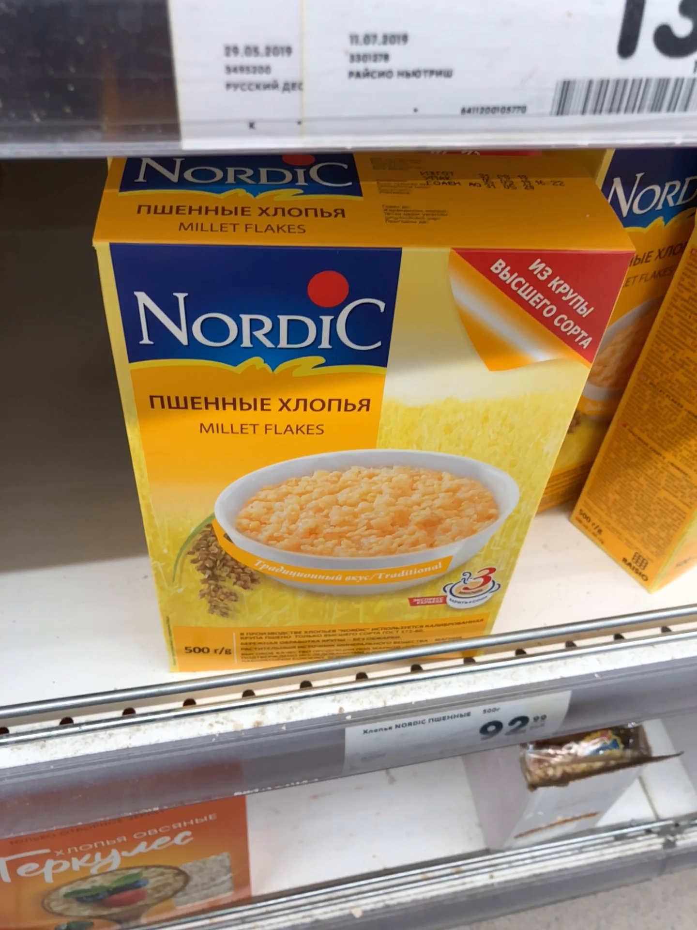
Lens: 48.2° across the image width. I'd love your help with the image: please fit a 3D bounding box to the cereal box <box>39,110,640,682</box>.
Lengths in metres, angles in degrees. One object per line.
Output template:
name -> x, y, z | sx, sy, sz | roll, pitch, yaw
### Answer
cereal box -> -0.009, -0.004, 0.277 | 0.140, 0.209, 0.060 | 0, 46, -6
